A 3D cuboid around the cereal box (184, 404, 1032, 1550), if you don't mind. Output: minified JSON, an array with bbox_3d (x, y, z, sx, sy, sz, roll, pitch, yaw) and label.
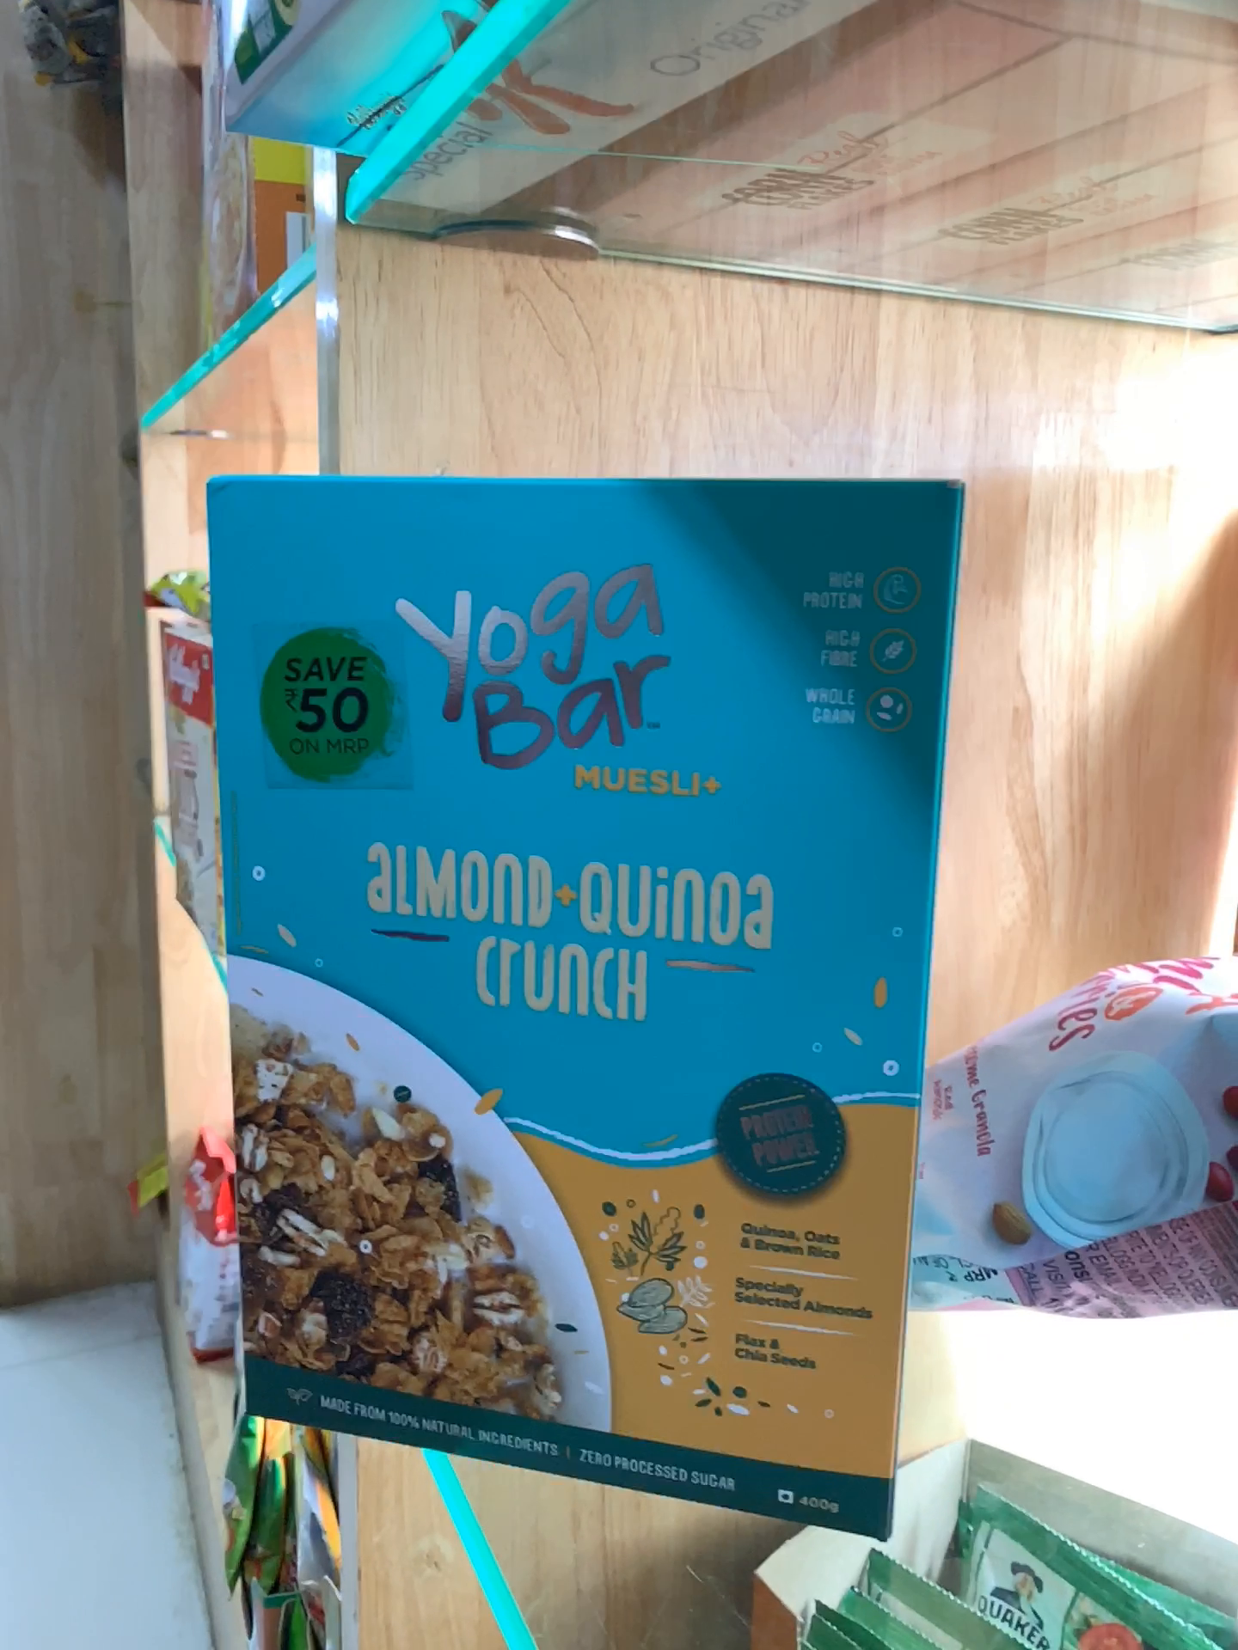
[{"bbox_3d":[-0.004,0.025,0.283,0.160,0.219,0.060,4,11,13],"label":"cereal box"}]
